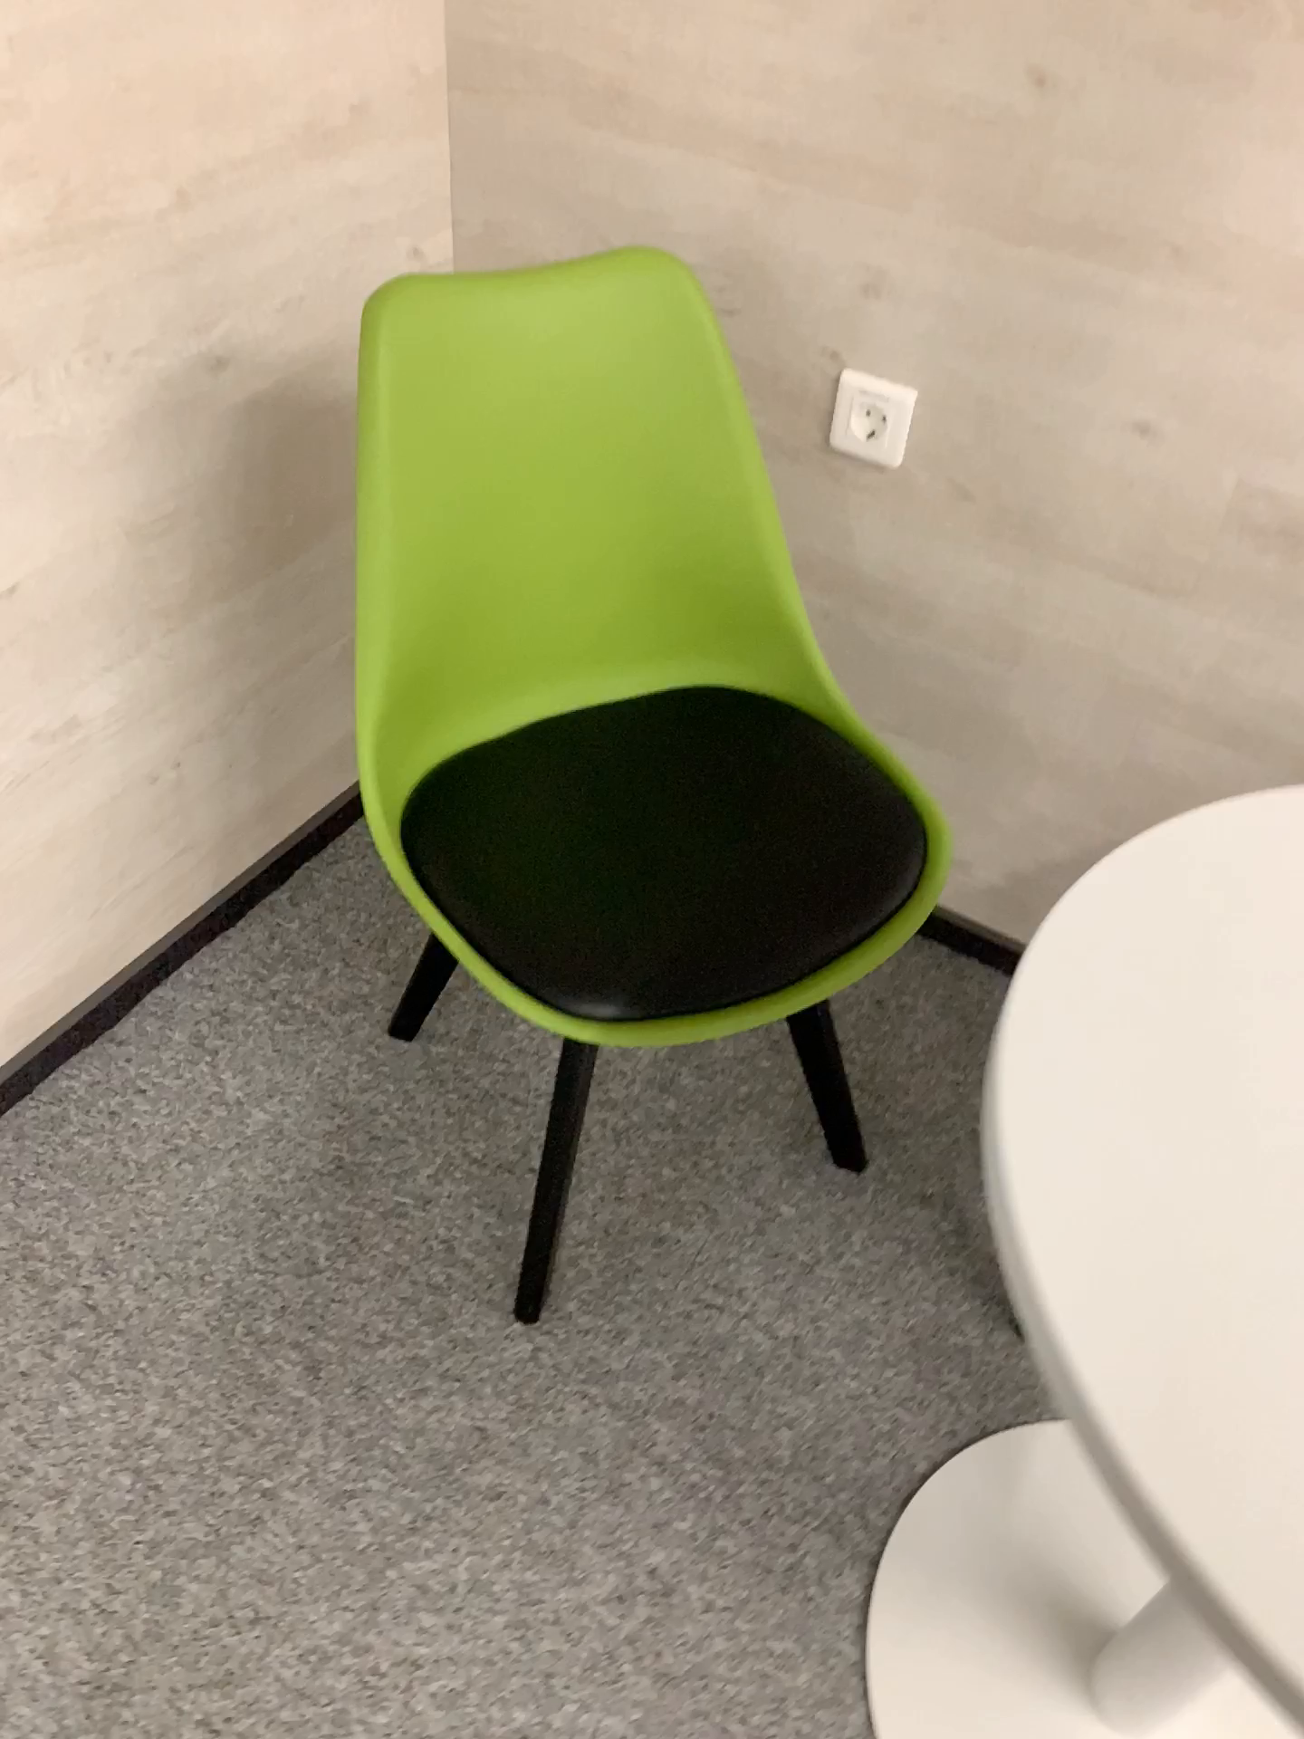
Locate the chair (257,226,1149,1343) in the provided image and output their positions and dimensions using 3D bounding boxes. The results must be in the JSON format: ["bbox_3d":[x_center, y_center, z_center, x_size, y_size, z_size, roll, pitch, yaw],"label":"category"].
[{"bbox_3d":[-0.010,-0.059,1.284,0.491,0.865,0.482,-18,48,-22],"label":"chair"}]
